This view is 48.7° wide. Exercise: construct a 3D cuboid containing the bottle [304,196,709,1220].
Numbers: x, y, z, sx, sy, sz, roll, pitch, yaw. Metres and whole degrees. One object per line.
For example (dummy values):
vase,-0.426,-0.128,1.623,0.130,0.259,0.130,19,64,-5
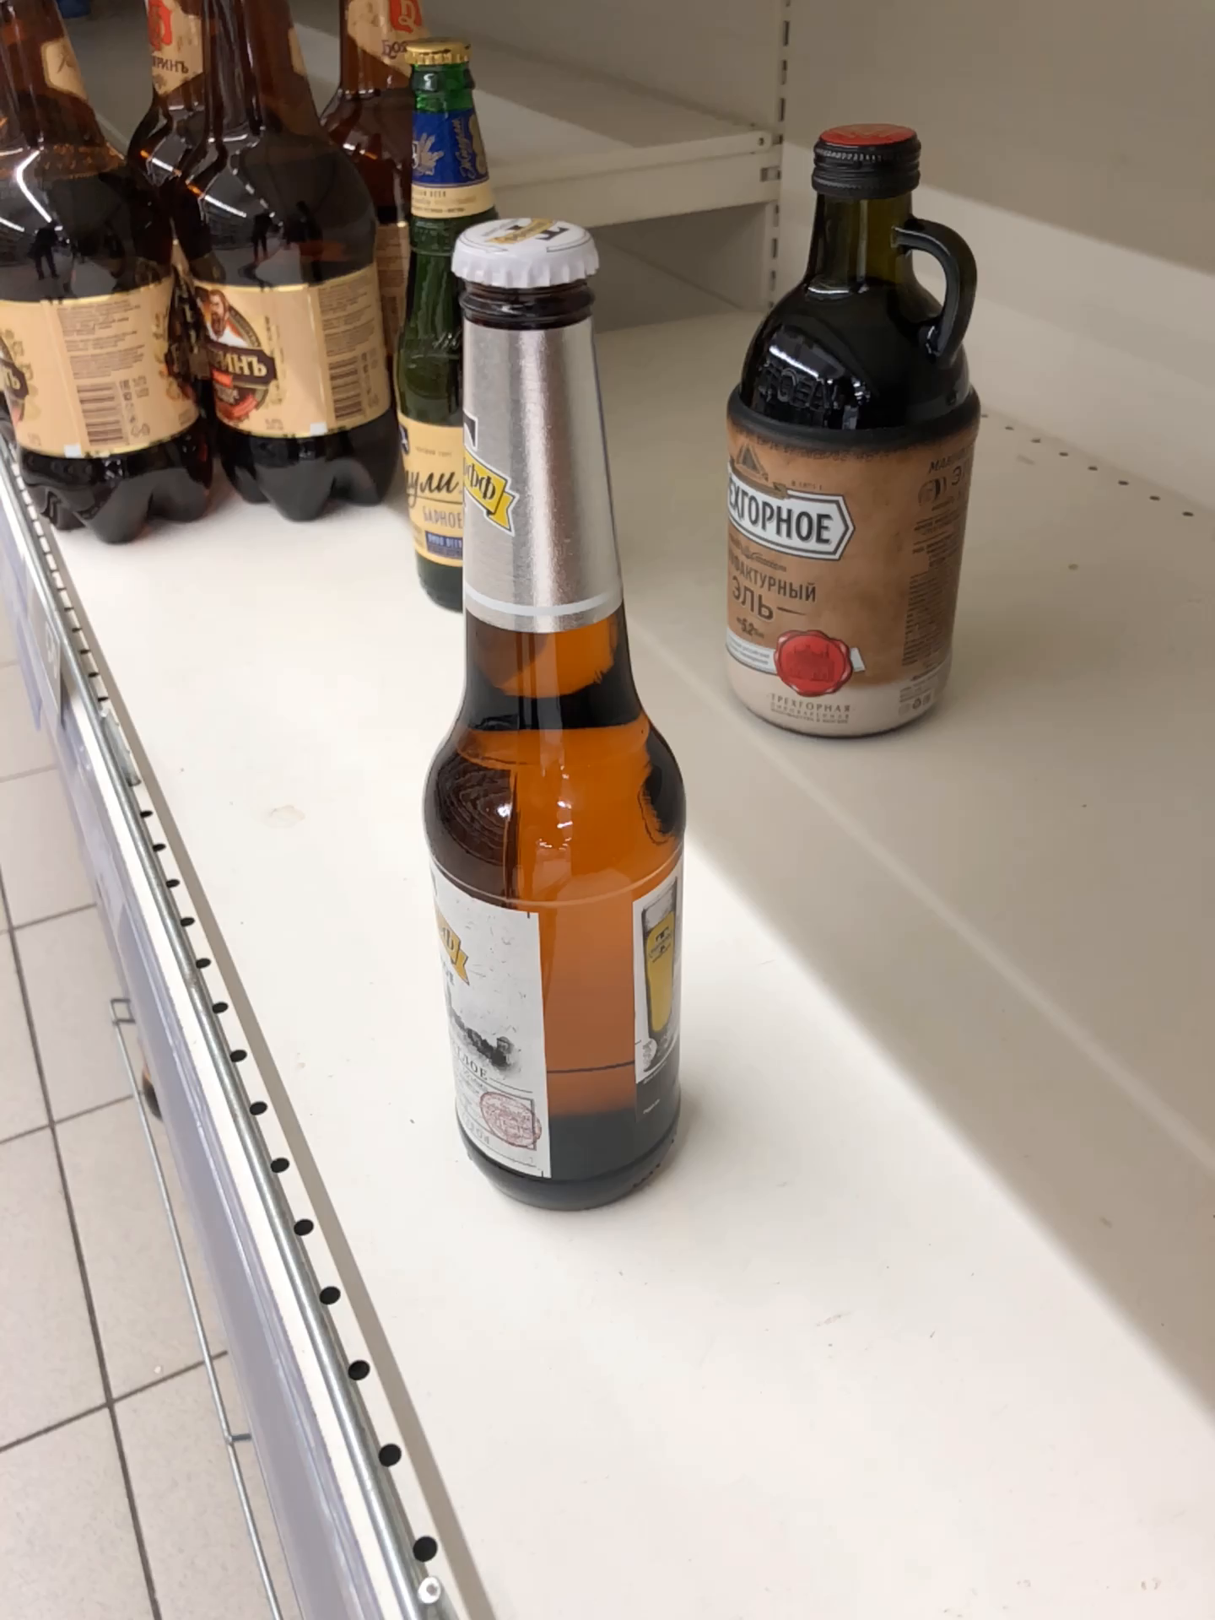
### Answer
bottle,-0.017,-0.011,0.338,0.070,0.249,0.080,-3,36,-2
